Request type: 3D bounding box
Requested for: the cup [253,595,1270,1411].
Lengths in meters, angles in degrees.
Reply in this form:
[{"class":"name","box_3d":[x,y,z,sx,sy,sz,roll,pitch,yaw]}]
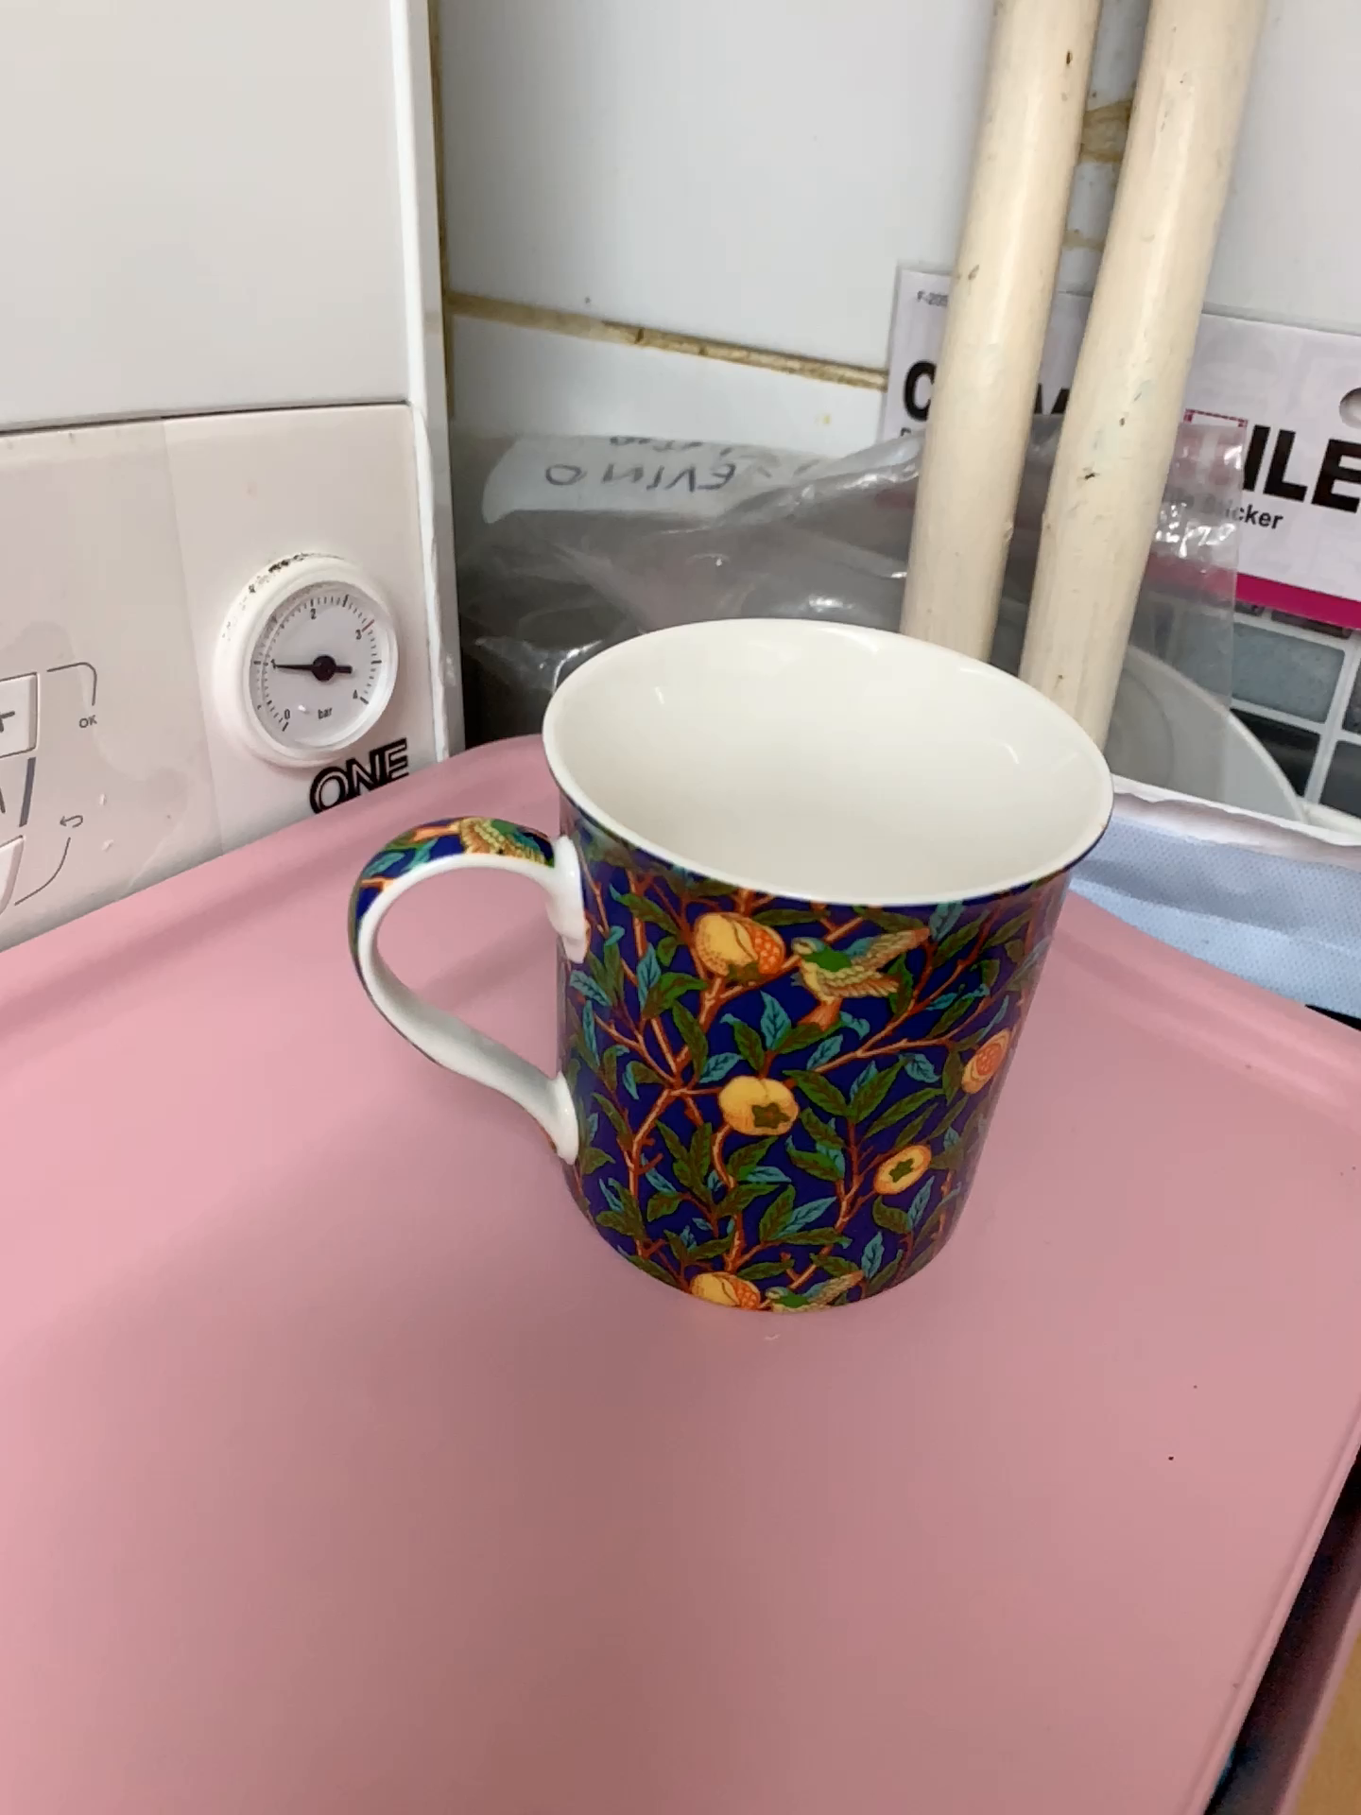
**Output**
[{"class":"cup","box_3d":[0.003,0.007,0.213,0.120,0.079,0.081,-5,32,-13]}]
